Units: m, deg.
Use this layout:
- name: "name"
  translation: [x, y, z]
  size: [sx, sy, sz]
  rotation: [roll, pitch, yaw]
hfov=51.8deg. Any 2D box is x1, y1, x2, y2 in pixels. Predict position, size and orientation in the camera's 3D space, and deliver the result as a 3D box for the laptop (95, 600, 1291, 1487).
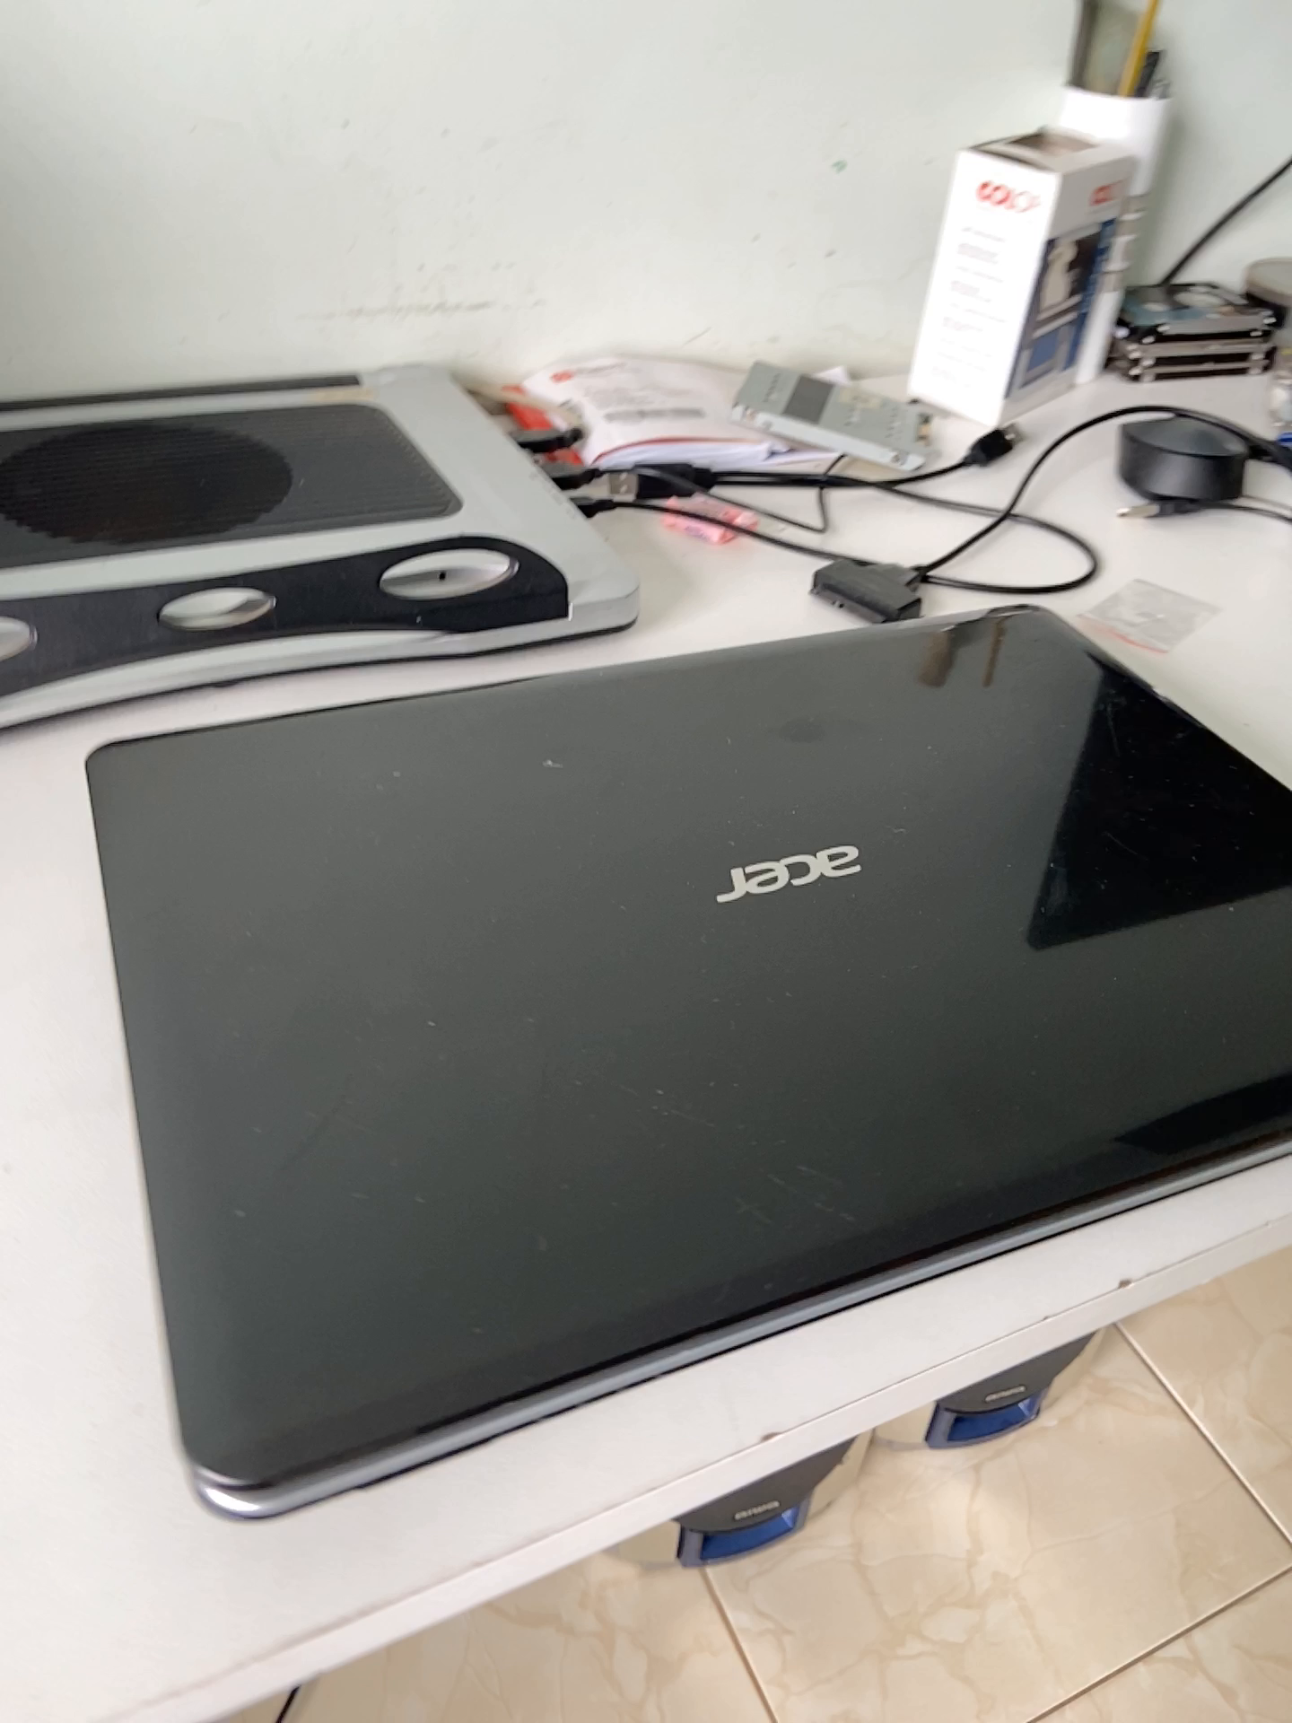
- name: "laptop"
  translation: [0.040, 0.003, 0.358]
  size: [0.335, 0.005, 0.231]
  rotation: [-12, 40, -20]
